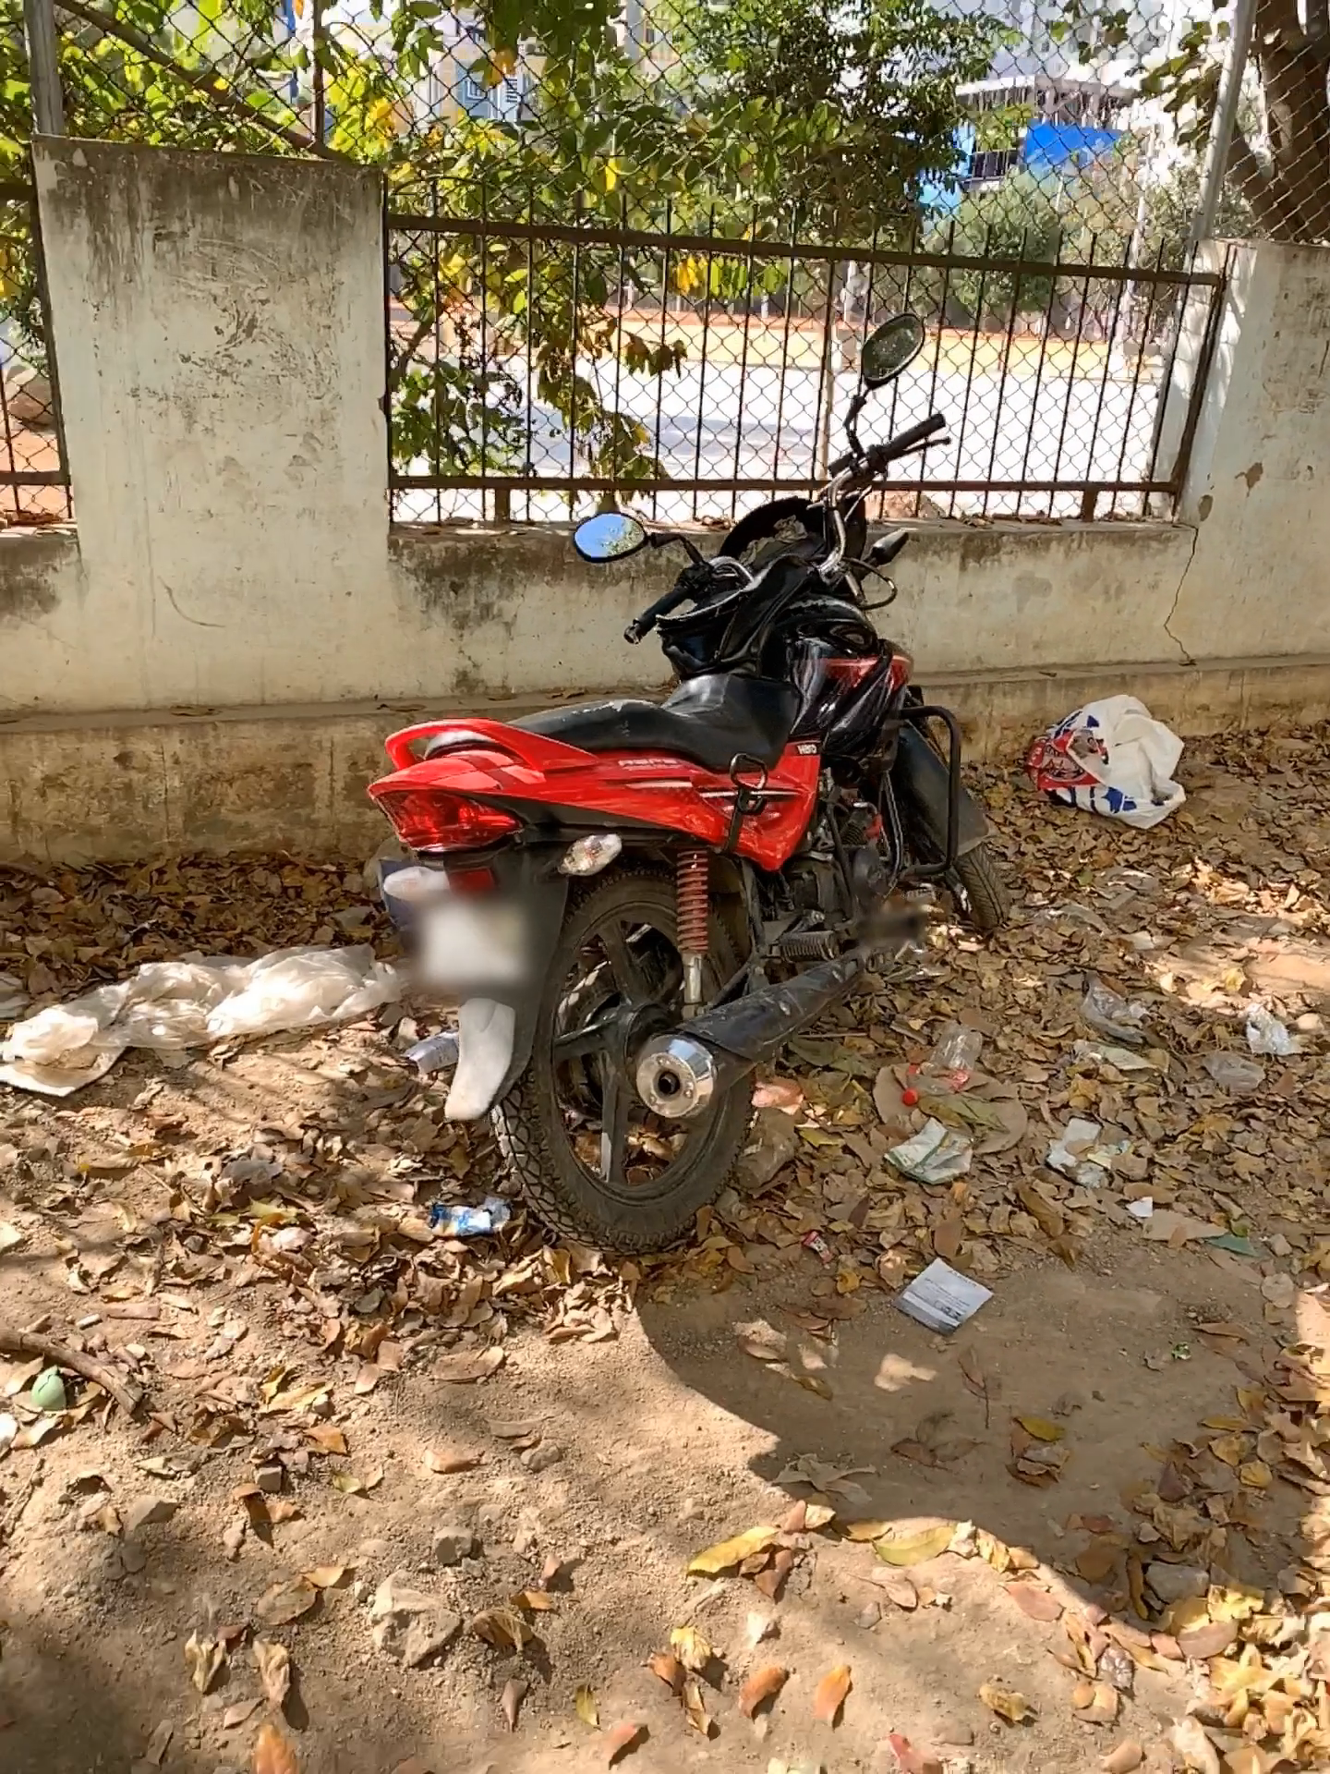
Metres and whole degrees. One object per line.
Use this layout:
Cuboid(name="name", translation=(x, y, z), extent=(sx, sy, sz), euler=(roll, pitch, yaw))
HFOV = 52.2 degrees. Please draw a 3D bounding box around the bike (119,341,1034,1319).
Cuboid(name="bike", translation=(-0.052, -0.259, 2.298), extent=(0.823, 1.067, 1.294), euler=(15, 29, 25))
